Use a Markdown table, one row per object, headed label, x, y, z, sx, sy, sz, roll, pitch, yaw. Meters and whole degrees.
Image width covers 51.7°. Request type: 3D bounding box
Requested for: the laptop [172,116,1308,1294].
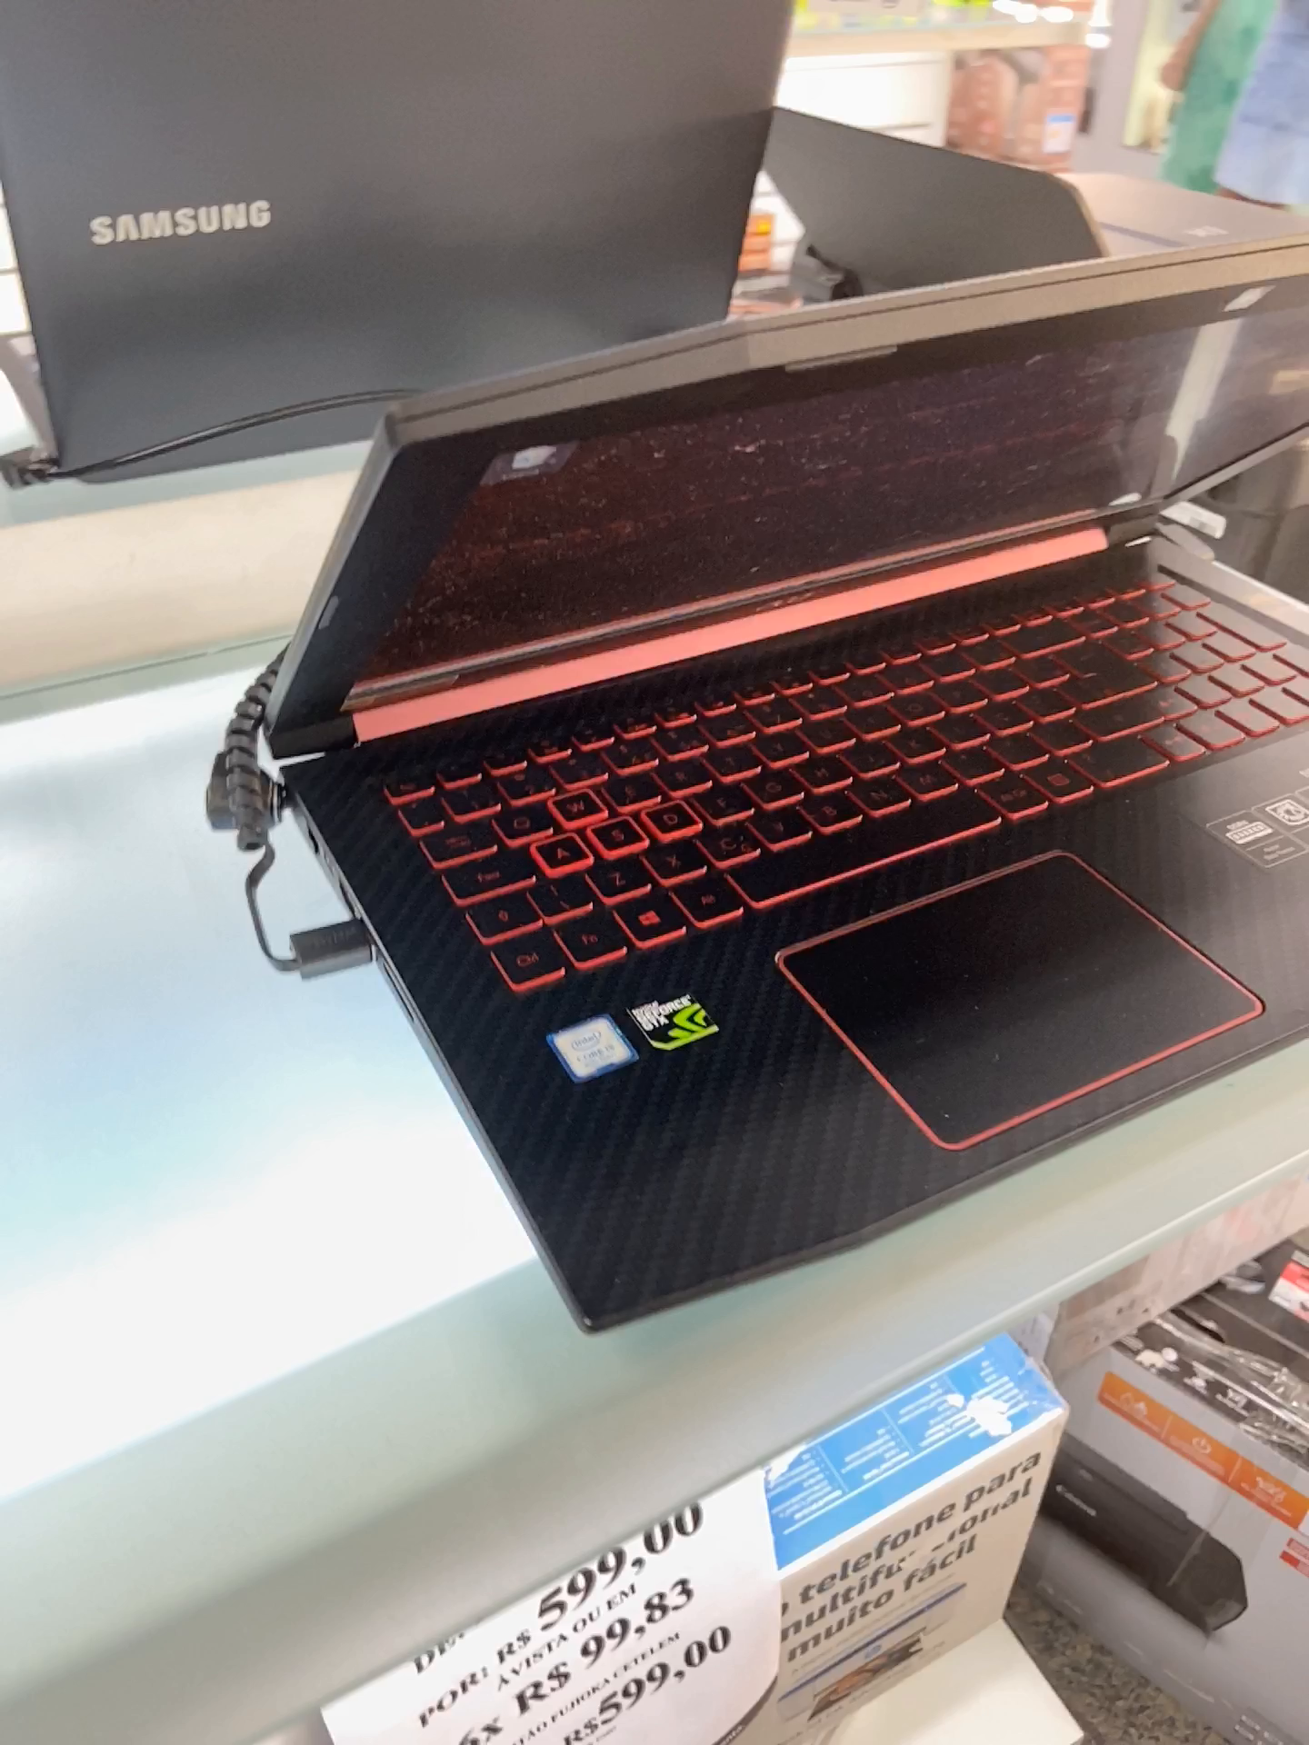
| label | x | y | z | sx | sy | sz | roll | pitch | yaw |
| --- | --- | --- | --- | --- | --- | --- | --- | --- | --- |
| laptop | 0.098 | -0.095 | 0.387 | 0.380 | 0.163 | 0.235 | -18 | 41 | -22 |
